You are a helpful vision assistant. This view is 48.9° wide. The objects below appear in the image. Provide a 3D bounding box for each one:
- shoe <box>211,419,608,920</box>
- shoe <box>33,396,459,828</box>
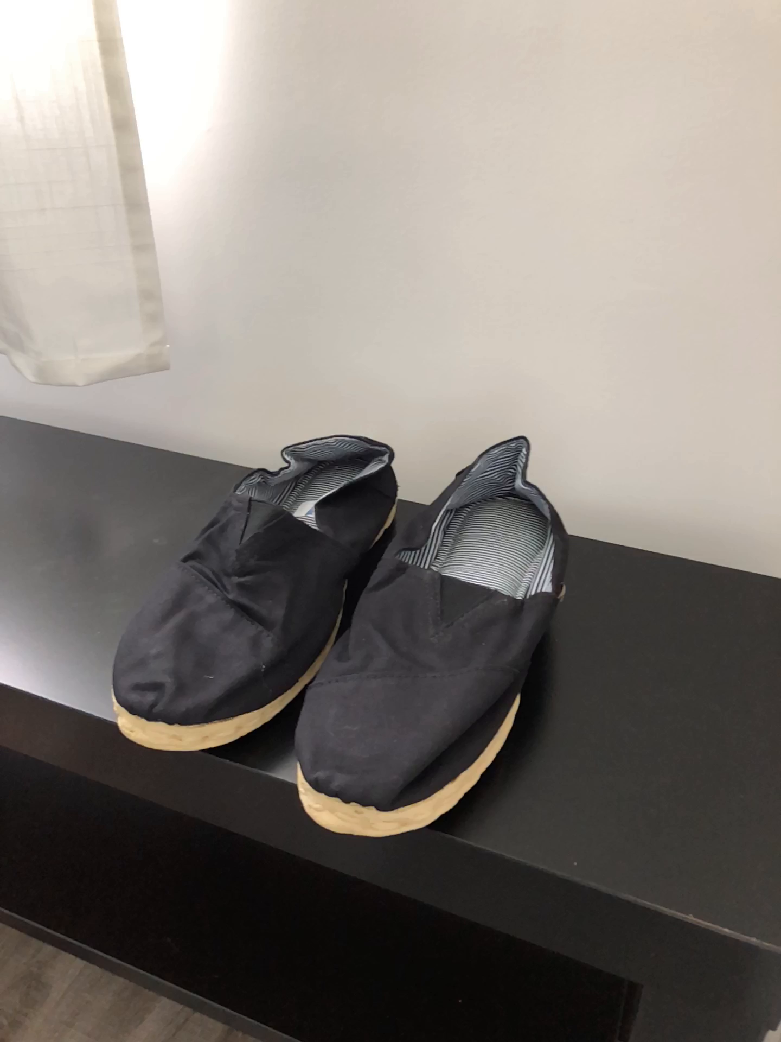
[{"bbox_3d":[0.030,0.045,0.440,0.101,0.080,0.275,12,33,19],"label":"shoe"},{"bbox_3d":[-0.055,0.025,0.482,0.101,0.080,0.275,12,33,19],"label":"shoe"}]
